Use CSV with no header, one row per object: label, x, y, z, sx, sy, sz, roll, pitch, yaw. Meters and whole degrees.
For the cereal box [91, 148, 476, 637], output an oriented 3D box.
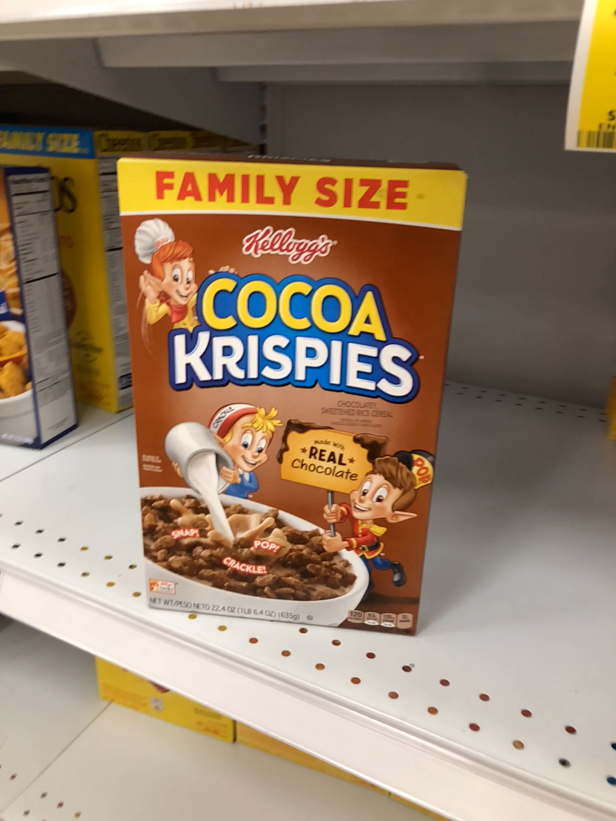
cereal box,-0.011,-0.007,0.439,0.200,0.299,0.070,3,23,8
